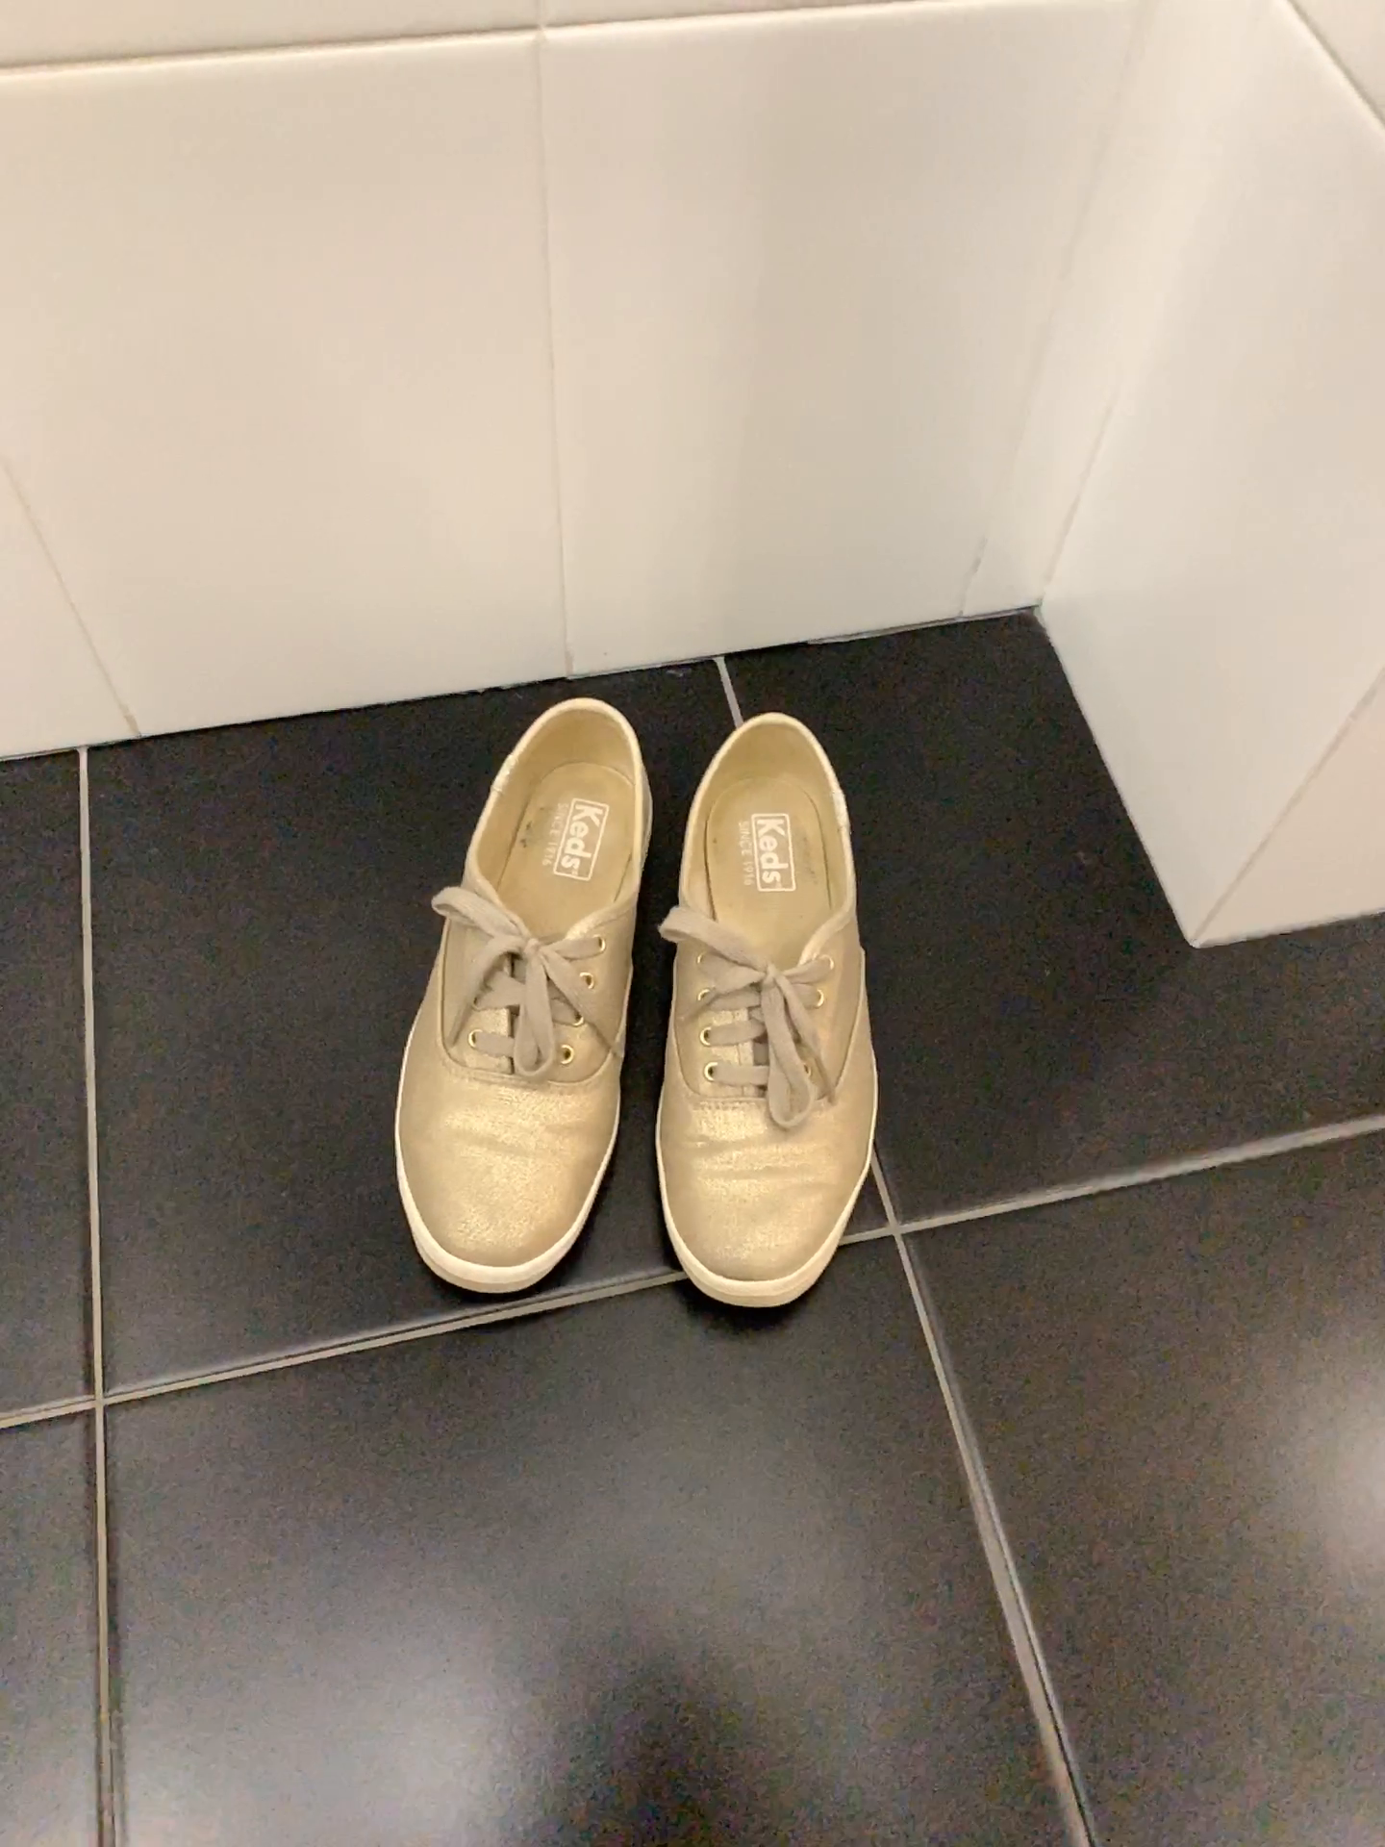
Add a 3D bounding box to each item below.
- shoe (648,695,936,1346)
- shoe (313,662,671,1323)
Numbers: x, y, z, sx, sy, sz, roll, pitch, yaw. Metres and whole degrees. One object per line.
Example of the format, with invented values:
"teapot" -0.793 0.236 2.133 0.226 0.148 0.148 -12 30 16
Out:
"shoe" 0.036 0.035 0.559 0.090 0.100 0.231 4 59 -2
"shoe" -0.068 0.023 0.557 0.090 0.100 0.231 7 59 0
